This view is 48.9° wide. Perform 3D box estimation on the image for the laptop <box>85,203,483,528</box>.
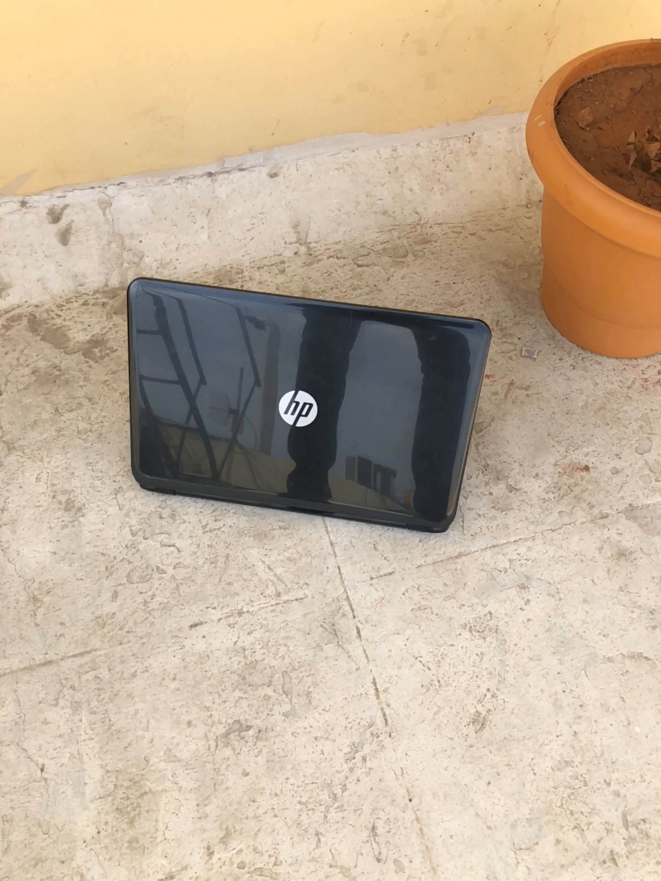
[{"bbox_3d":[-0.035,-0.076,0.780,0.344,0.189,0.222,8,62,4],"label":"laptop"}]
